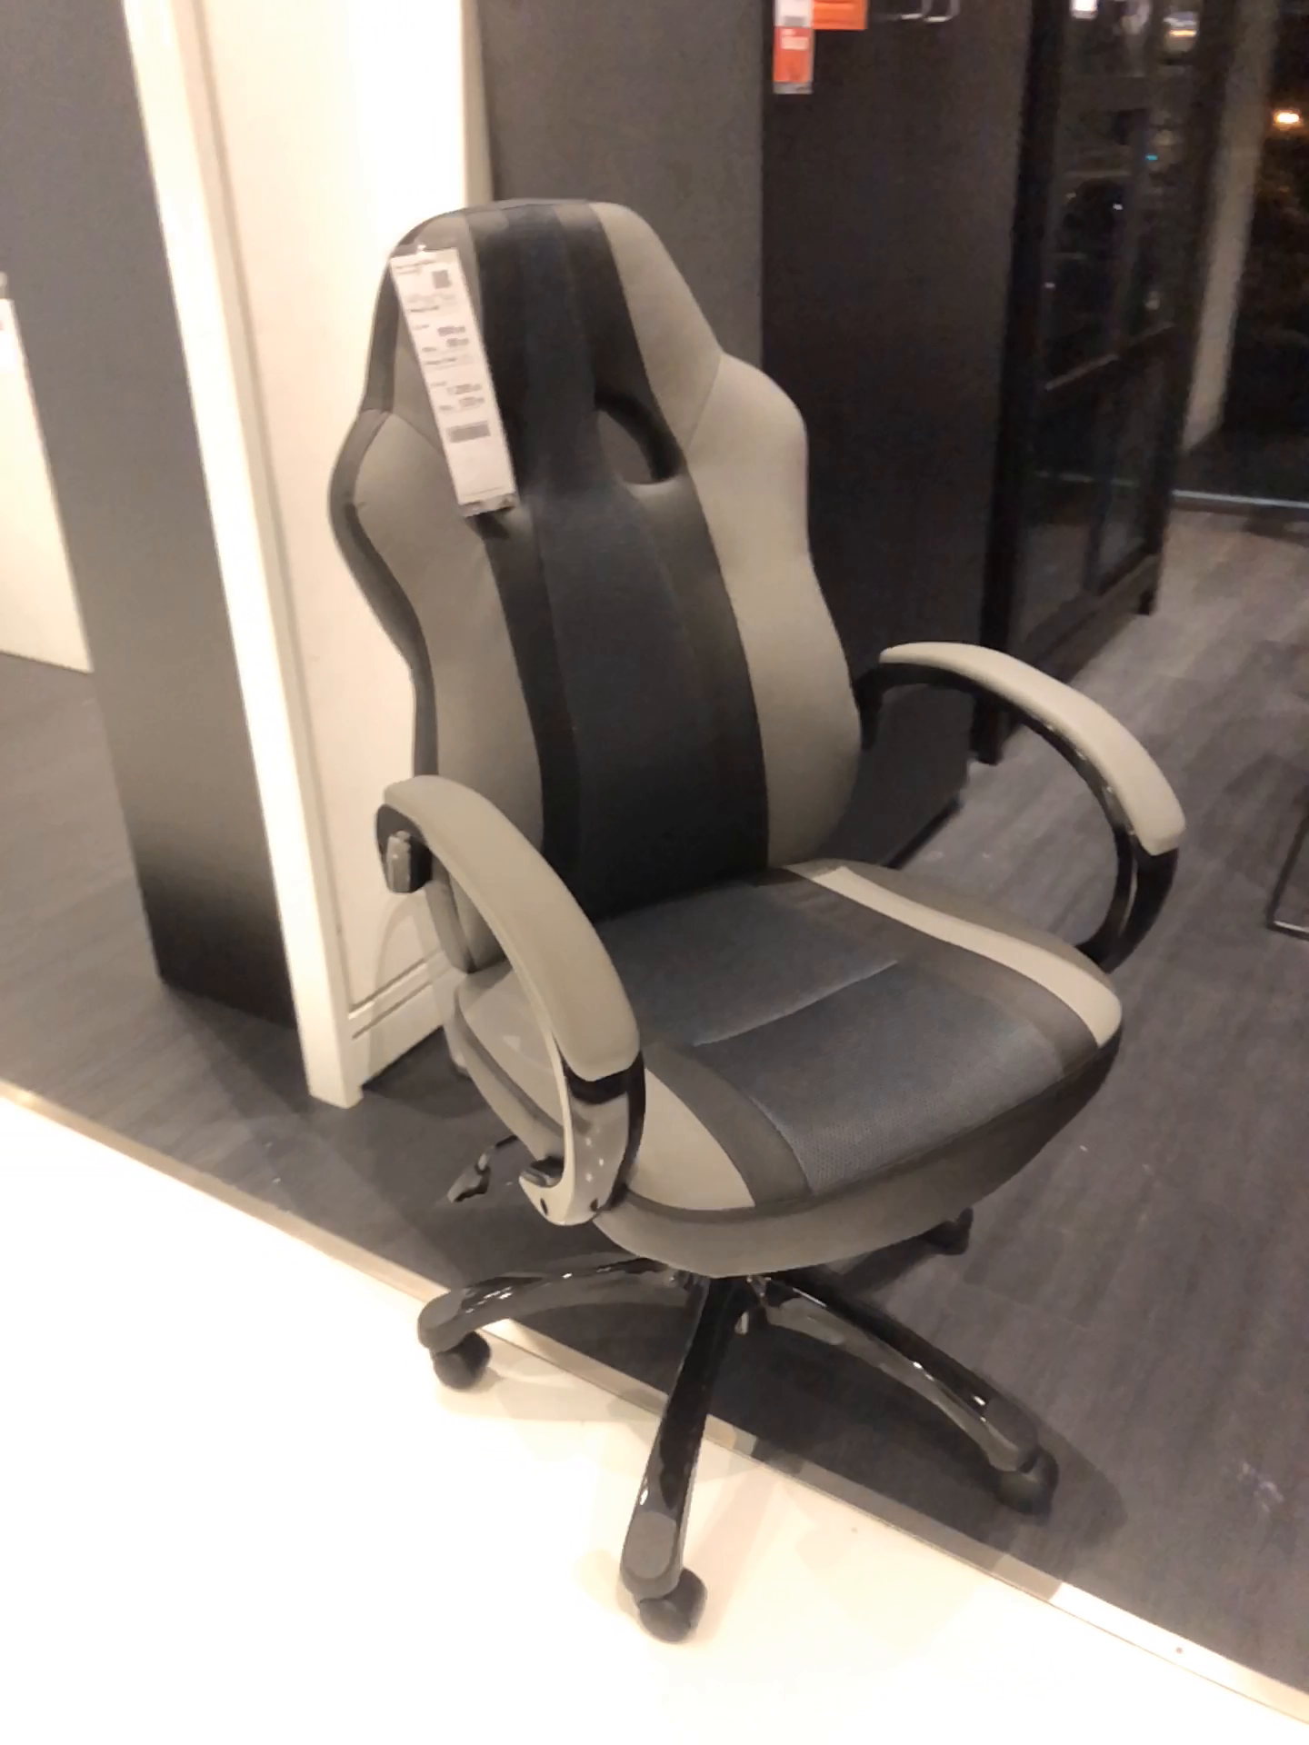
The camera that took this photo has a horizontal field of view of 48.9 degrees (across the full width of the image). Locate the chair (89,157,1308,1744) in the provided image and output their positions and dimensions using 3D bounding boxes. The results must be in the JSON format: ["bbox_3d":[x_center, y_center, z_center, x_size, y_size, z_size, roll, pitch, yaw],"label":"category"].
[{"bbox_3d":[0.047,-0.008,1.353,0.711,1.161,0.784,-17,31,-27],"label":"chair"}]
